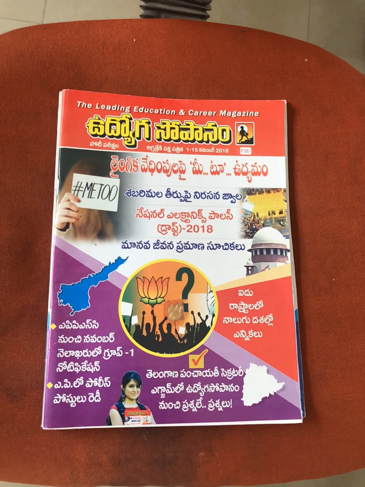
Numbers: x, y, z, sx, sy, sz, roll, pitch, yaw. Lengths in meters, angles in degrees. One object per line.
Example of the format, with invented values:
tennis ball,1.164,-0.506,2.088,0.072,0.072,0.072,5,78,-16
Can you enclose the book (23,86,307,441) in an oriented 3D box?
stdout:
book,-0.014,0.008,0.358,0.217,0.040,0.295,0,78,-3
